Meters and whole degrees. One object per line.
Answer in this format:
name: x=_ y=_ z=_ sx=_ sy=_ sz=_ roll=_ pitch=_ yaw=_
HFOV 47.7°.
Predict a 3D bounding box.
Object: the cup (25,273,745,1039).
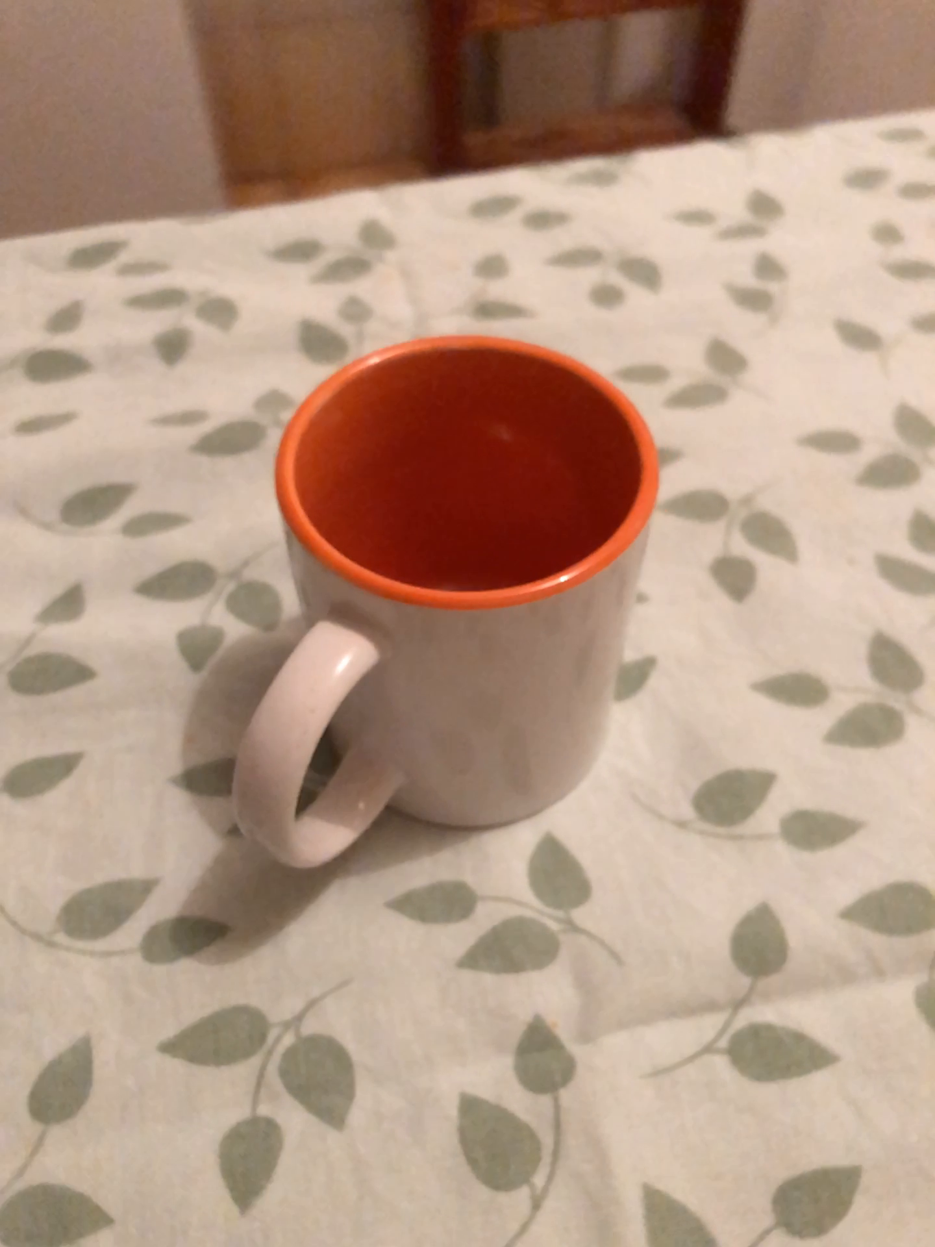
cup: x=-0.011 y=0.007 z=0.242 sx=0.080 sy=0.099 sz=0.121 roll=30 pitch=60 yaw=20
